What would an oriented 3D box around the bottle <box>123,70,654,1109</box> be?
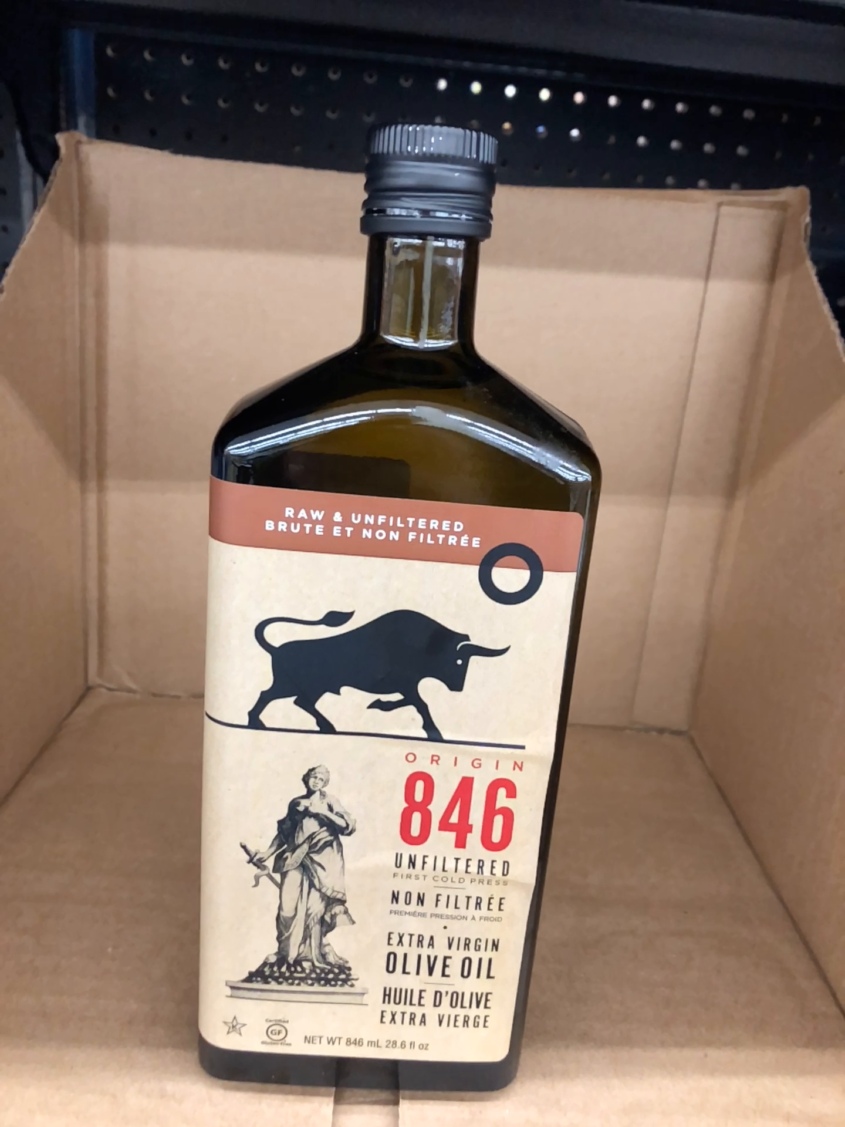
[{"bbox_3d":[-0.017,0.019,0.245,0.100,0.249,0.060,4,19,-3],"label":"bottle"}]
